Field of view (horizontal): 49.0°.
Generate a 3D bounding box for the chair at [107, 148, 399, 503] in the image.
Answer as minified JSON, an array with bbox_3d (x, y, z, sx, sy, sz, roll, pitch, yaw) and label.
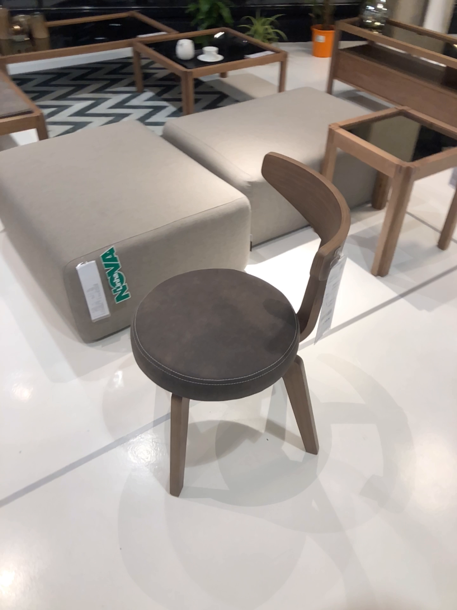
[{"bbox_3d":[0.008,0.057,1.294,0.520,0.705,0.504,-6,42,-8],"label":"chair"}]
